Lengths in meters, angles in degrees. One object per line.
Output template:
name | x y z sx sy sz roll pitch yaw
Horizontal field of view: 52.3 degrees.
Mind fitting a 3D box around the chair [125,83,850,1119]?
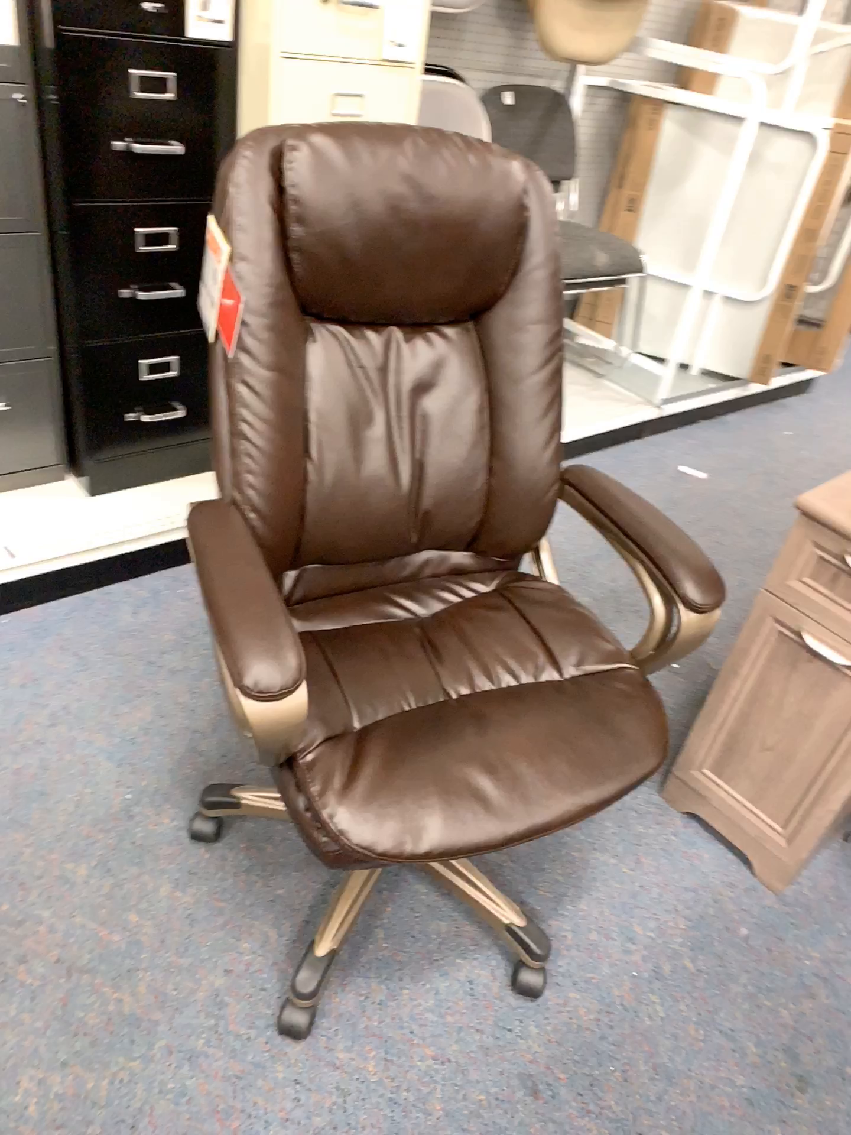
chair | 0.005 0.022 1.293 0.725 1.112 0.815 -6 39 -24
